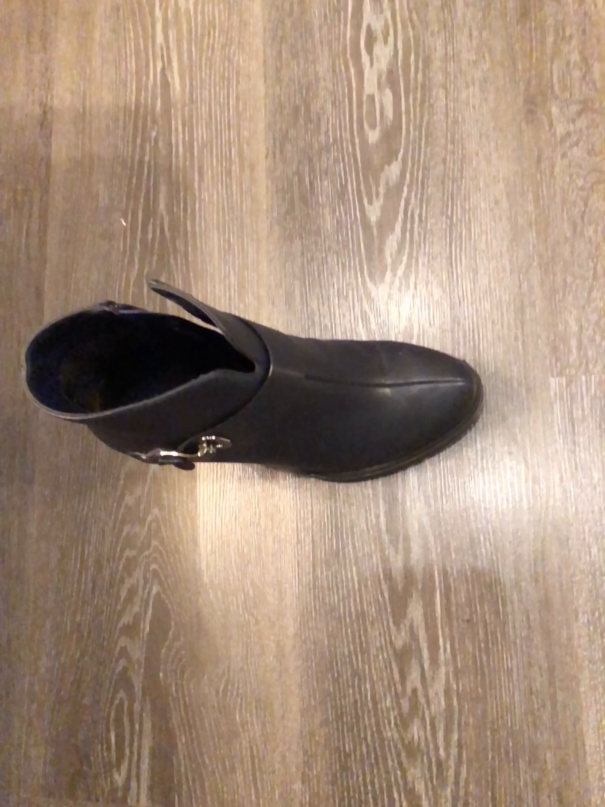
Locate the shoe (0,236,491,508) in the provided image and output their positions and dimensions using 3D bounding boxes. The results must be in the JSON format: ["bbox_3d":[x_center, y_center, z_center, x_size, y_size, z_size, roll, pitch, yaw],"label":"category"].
[{"bbox_3d":[-0.013,-0.008,0.372,0.220,0.180,0.100,5,81,17],"label":"shoe"}]
